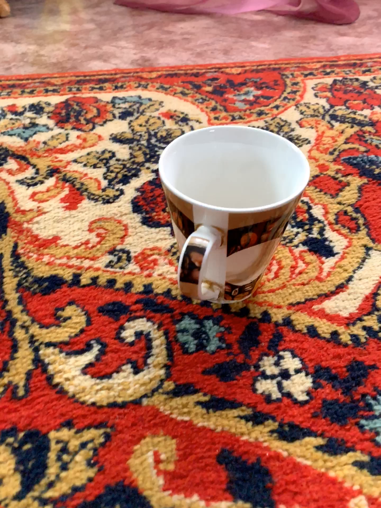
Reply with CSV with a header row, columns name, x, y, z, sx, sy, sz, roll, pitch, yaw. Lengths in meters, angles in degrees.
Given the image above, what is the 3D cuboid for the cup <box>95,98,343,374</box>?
name,x,y,z,sx,sy,sz,roll,pitch,yaw
cup,0.021,-0.017,0.212,0.080,0.079,0.111,18,47,18
